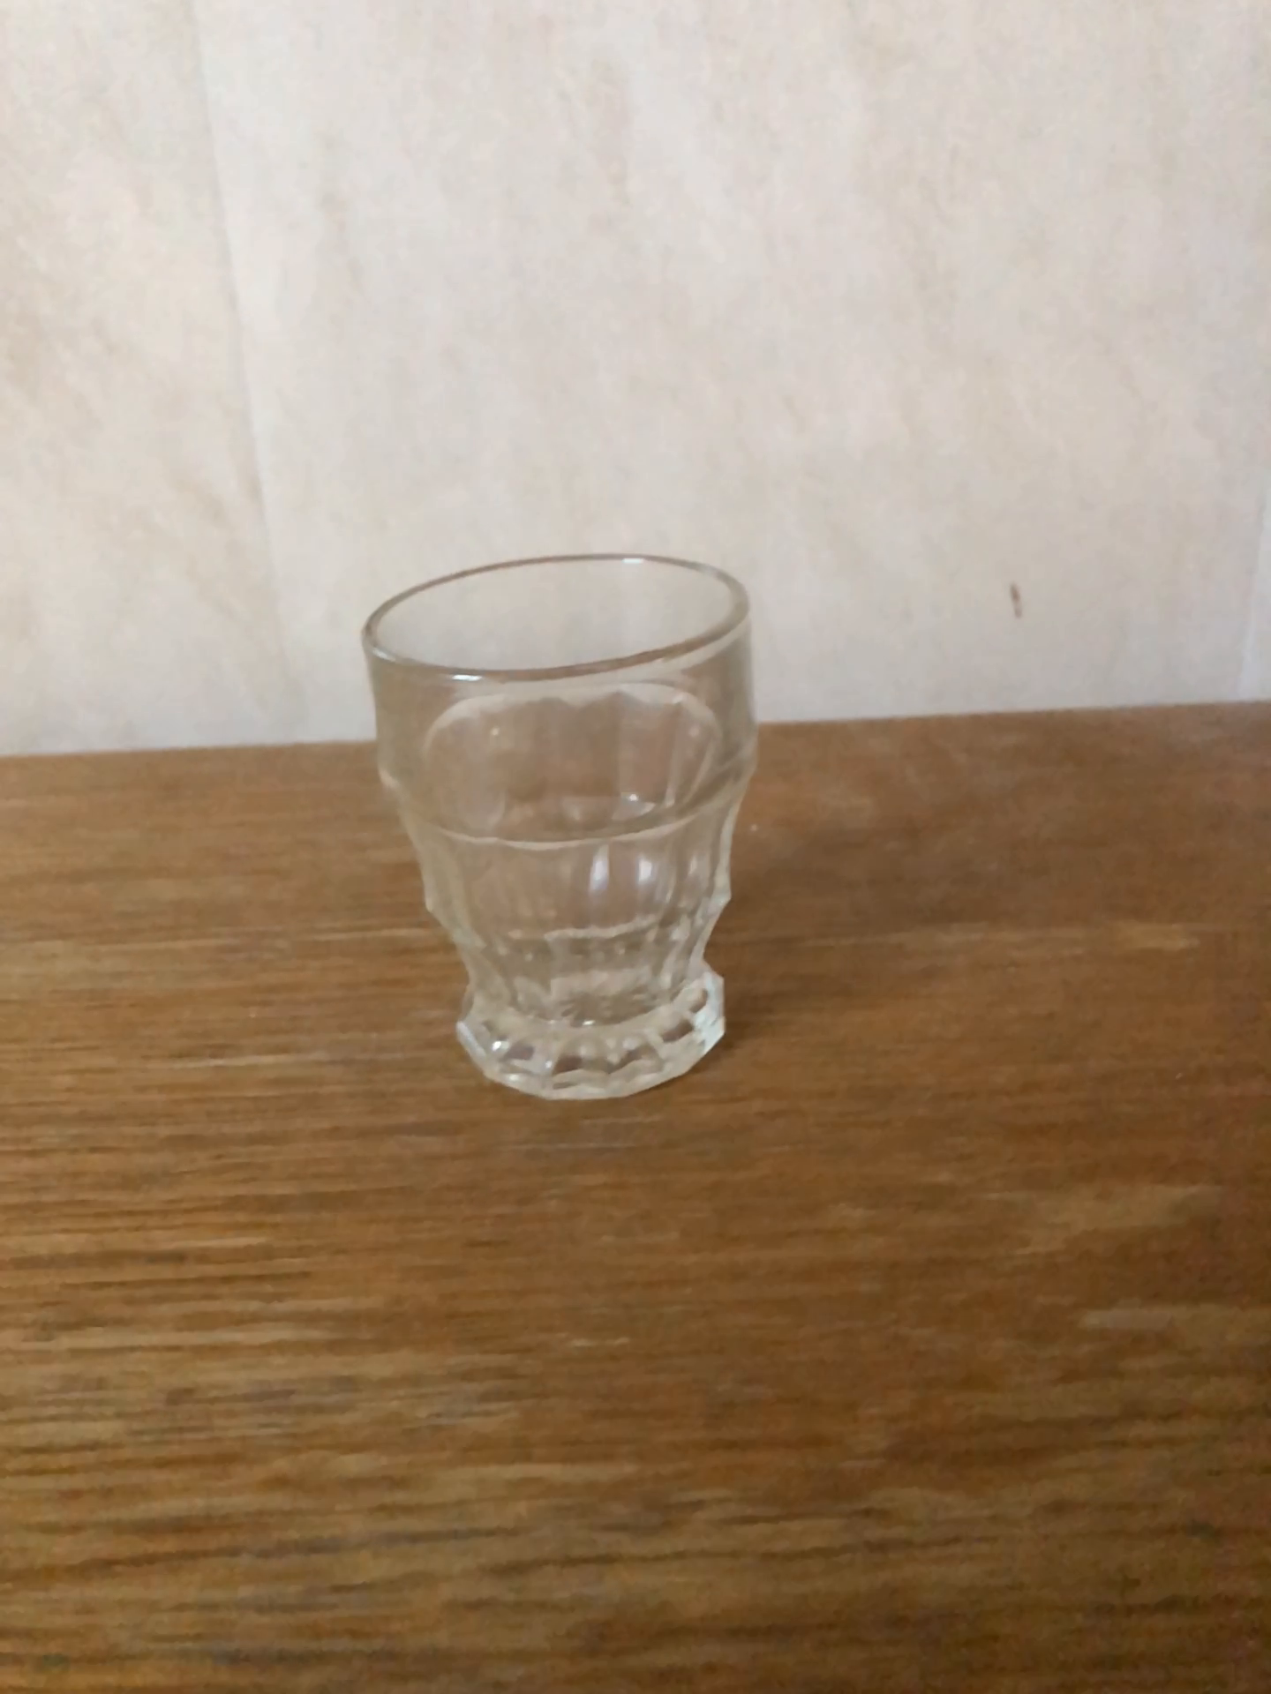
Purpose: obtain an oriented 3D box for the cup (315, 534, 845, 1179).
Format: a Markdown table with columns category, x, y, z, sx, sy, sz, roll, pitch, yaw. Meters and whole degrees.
| category | x | y | z | sx | sy | sz | roll | pitch | yaw |
| --- | --- | --- | --- | --- | --- | --- | --- | --- | --- |
| cup | -0.010 | -0.003 | 0.215 | 0.060 | 0.070 | 0.060 | -2 | 25 | 1 |
